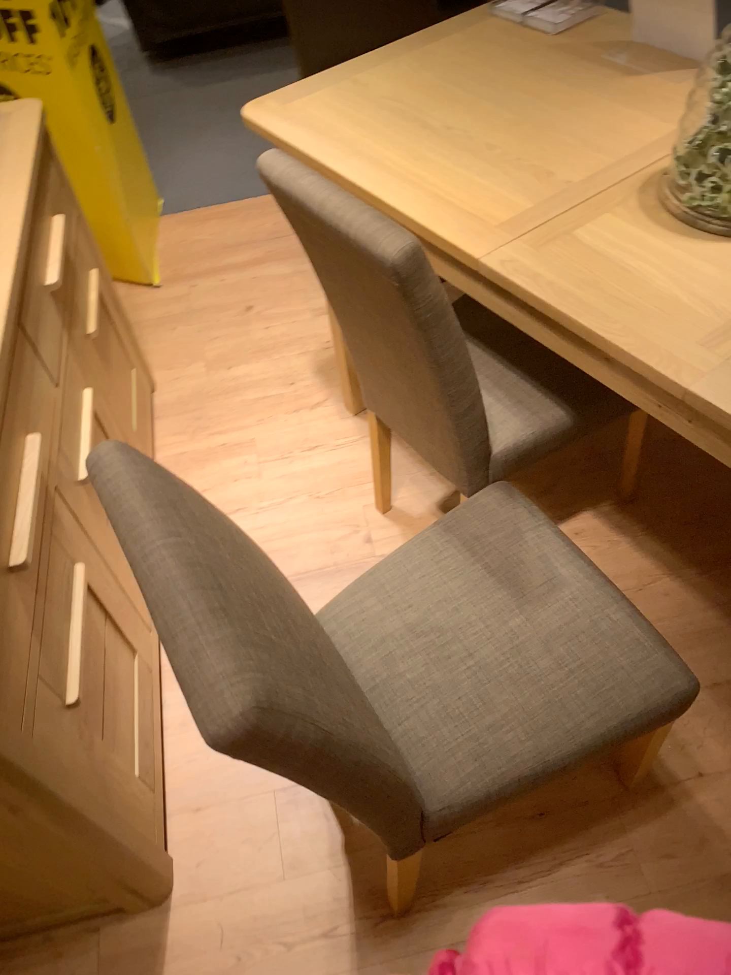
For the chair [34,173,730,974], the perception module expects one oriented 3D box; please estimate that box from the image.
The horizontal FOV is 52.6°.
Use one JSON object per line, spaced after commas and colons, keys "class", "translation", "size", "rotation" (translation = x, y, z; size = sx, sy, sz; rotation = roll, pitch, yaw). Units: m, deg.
{"class": "chair", "translation": [0.093, 0.207, 1.049], "size": [0.611, 0.952, 0.494], "rotation": [-27, 52, -15]}
